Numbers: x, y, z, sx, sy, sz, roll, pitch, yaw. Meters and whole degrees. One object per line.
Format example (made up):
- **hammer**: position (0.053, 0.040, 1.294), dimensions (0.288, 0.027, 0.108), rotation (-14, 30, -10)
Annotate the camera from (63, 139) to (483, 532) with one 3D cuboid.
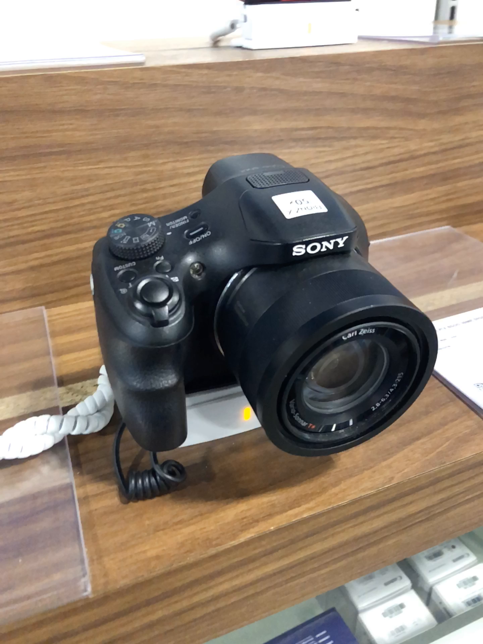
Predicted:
- **camera**: position (0.006, -0.008, 0.232), dimensions (0.130, 0.089, 0.121), rotation (-13, 39, -18)
